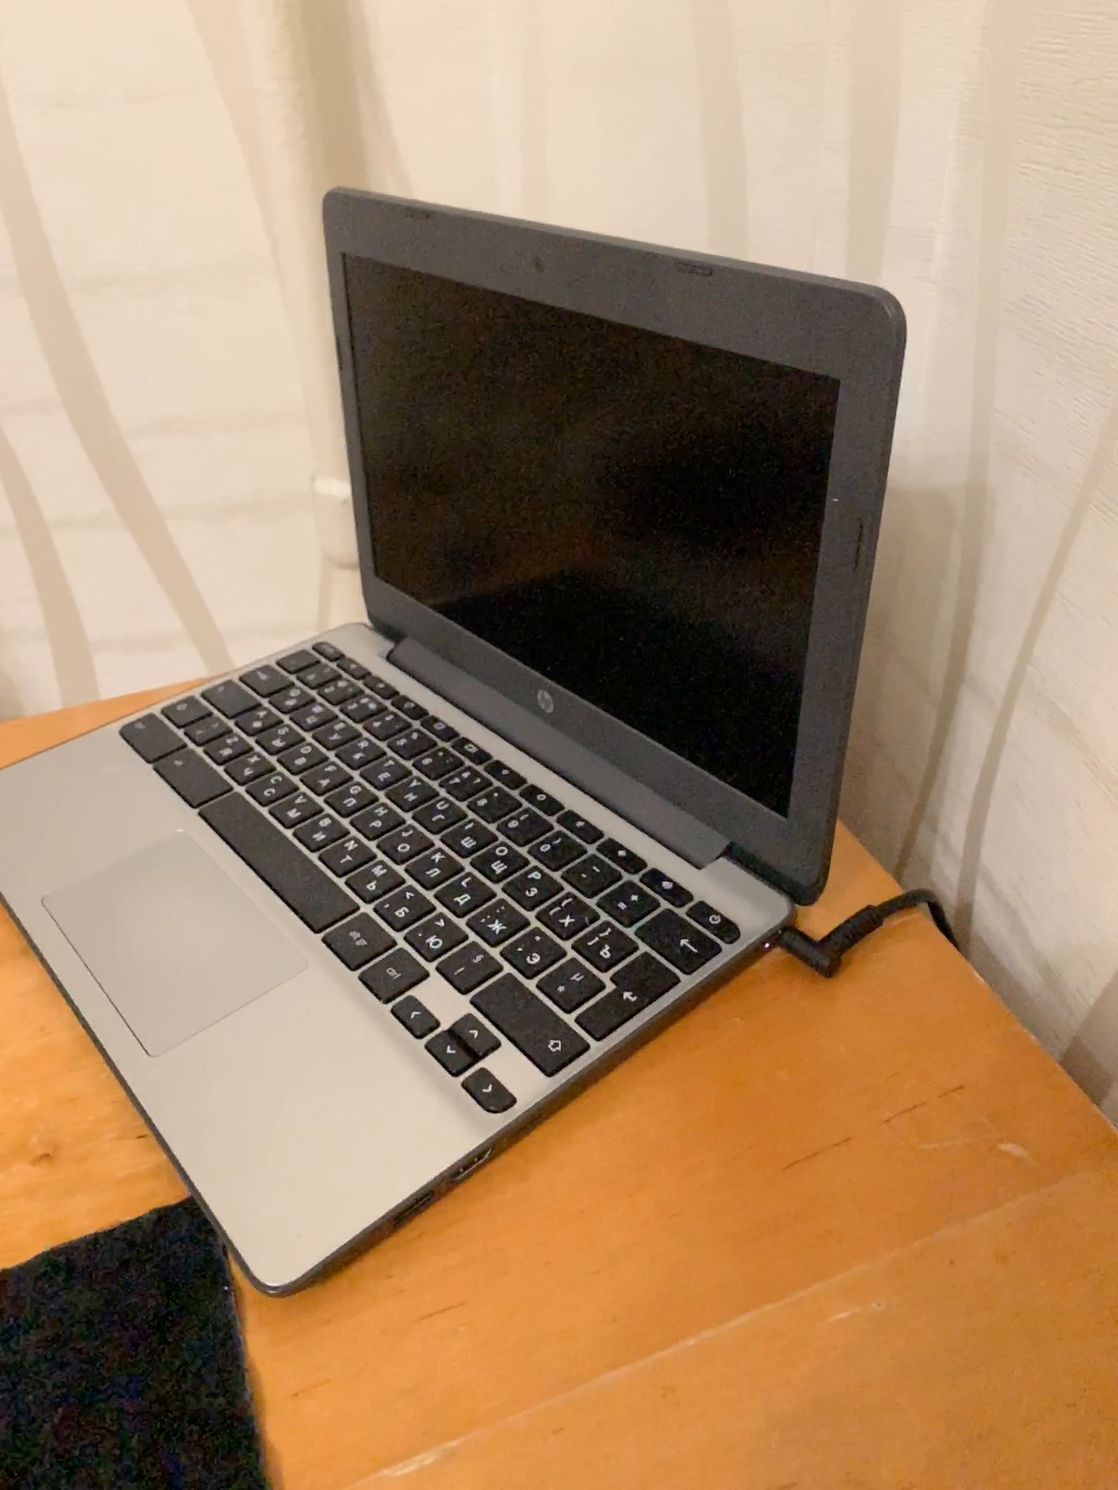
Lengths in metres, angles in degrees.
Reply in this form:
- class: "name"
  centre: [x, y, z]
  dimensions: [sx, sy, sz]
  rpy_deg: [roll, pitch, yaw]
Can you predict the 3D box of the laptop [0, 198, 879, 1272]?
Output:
- class: "laptop"
  centre: [-0.083, -0.043, 0.372]
  dimensions: [0.206, 0.187, 0.272]
  rpy_deg: [-28, 41, -30]
